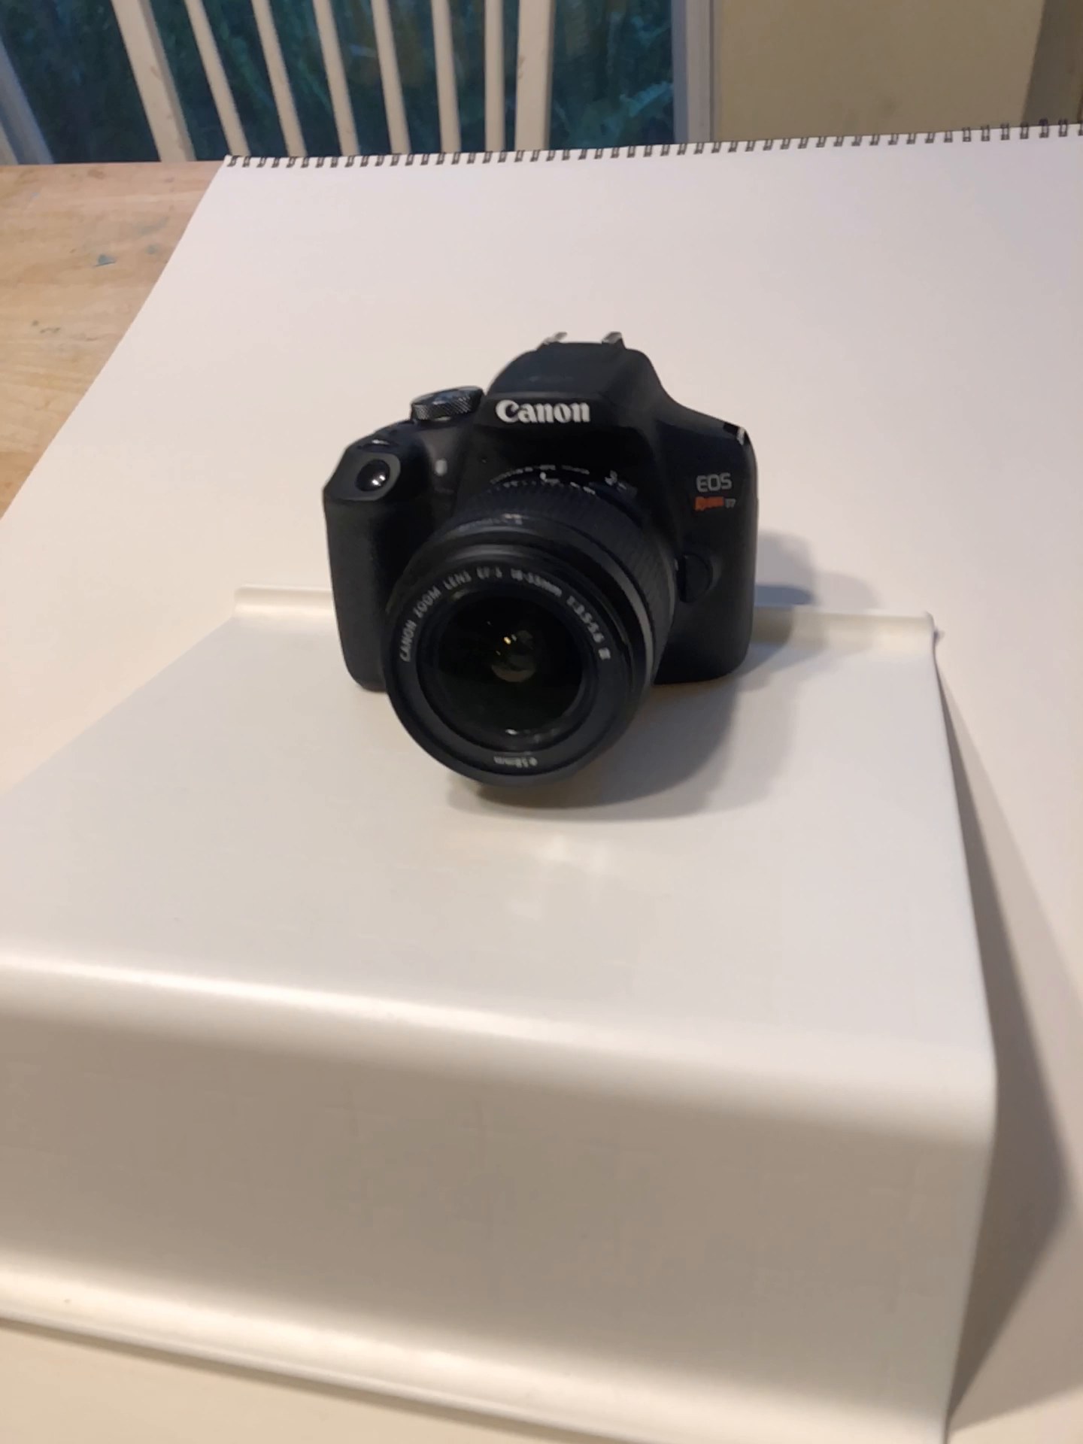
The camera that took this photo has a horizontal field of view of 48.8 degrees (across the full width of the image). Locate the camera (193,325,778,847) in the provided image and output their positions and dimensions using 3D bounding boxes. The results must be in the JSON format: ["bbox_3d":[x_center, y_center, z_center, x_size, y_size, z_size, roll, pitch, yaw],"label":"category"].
[{"bbox_3d":[-0.002,-0.051,0.344,0.125,0.104,0.140,5,25,12],"label":"camera"}]
